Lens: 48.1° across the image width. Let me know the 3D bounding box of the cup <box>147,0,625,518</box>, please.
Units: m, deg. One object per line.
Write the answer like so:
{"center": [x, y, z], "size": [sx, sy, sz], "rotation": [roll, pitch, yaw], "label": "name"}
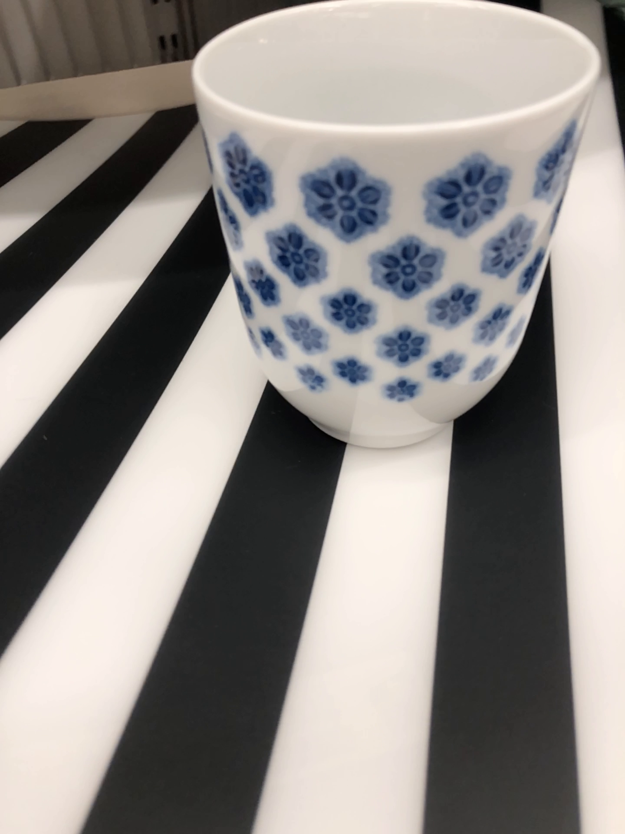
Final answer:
{"center": [0.013, -0.042, 0.154], "size": [0.070, 0.080, 0.080], "rotation": [-14, 45, -11], "label": "cup"}
